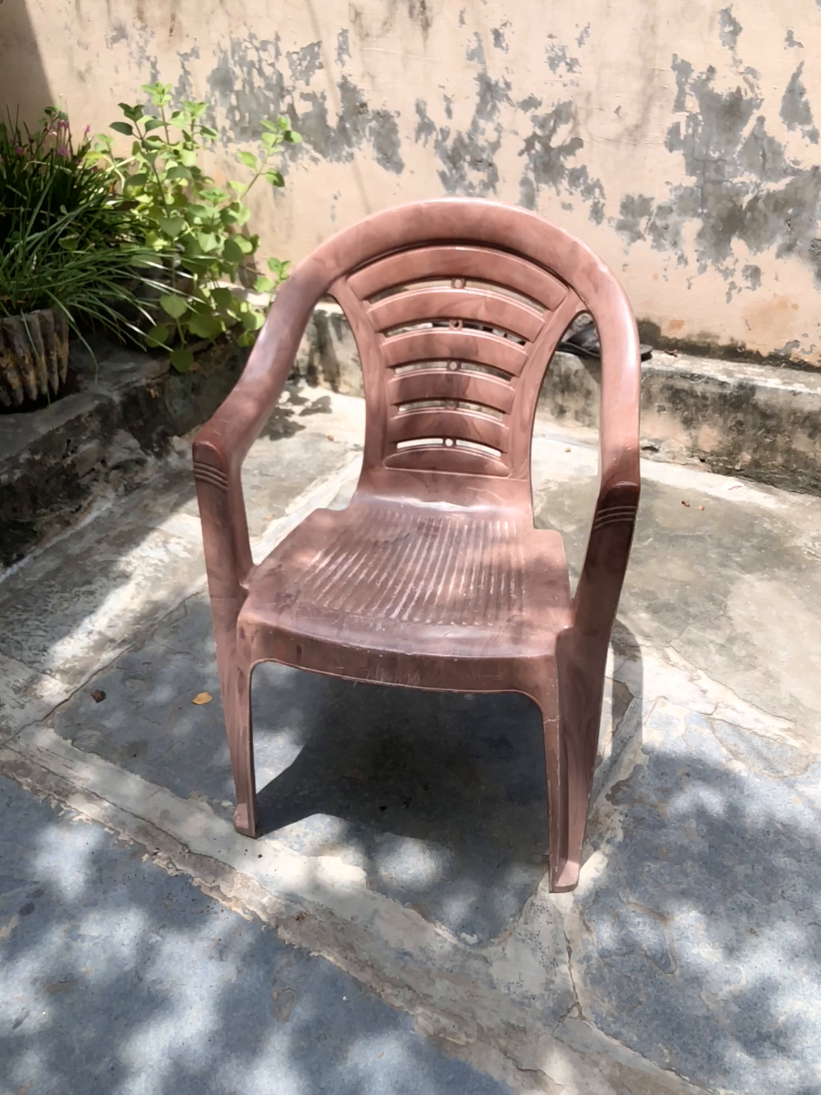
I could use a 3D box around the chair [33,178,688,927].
[{"bbox_3d":[0.006,-0.016,1.203,0.580,0.766,0.543,6,35,11],"label":"chair"}]
